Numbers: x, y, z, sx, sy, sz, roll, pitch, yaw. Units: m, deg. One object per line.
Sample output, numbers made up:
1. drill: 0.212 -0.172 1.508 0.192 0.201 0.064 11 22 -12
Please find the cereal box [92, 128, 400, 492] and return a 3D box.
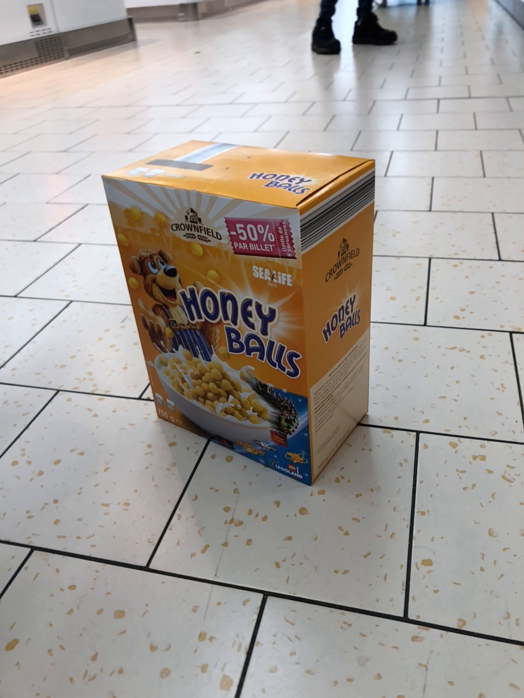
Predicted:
1. cereal box: -0.007 -0.045 0.527 0.210 0.258 0.131 19 39 32
